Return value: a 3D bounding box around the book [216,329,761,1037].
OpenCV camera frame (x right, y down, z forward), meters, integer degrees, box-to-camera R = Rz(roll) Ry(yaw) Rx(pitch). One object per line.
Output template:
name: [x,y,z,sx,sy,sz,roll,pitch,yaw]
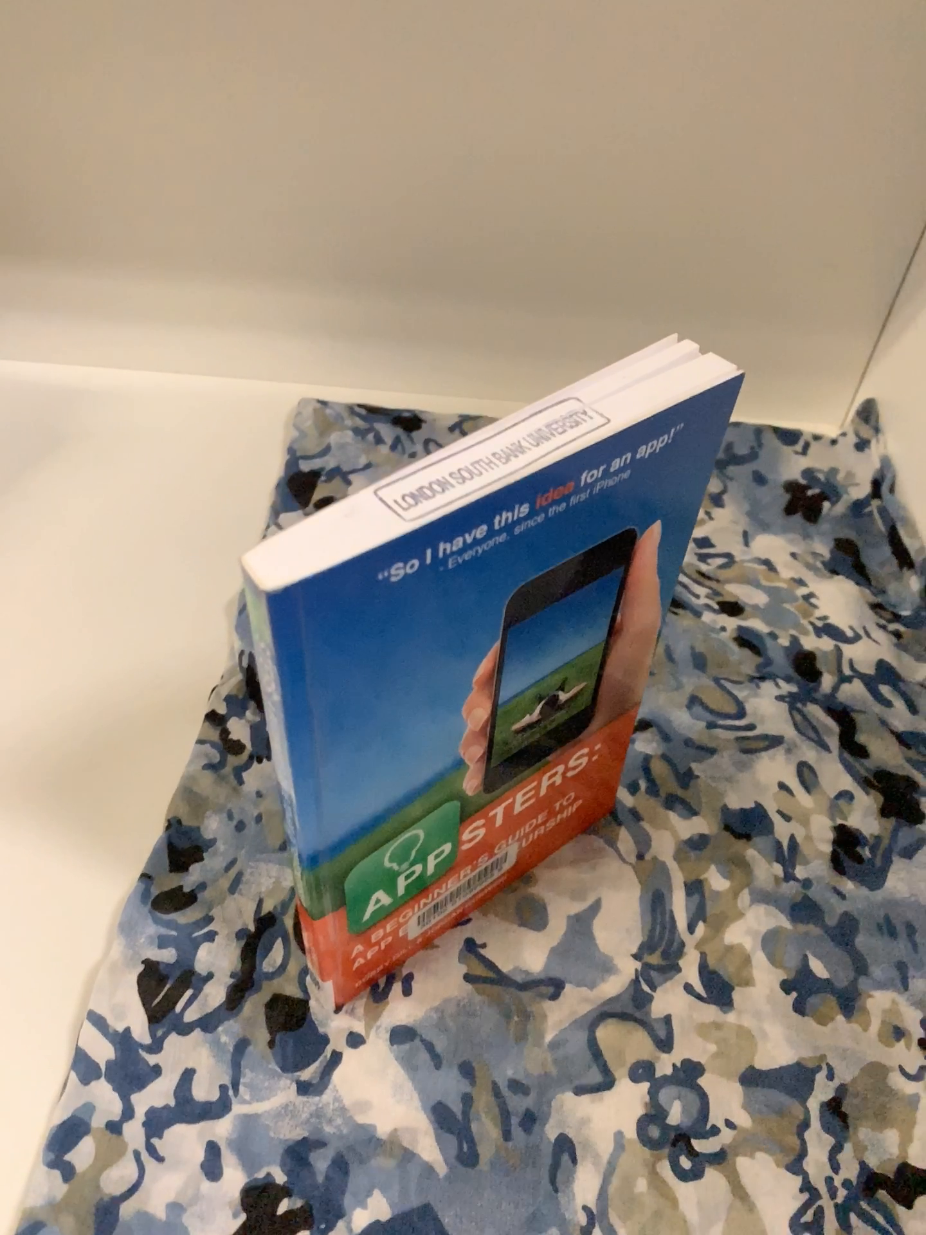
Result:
book: [0.009,0.032,0.285,0.141,0.203,0.024,-30,55,-28]
